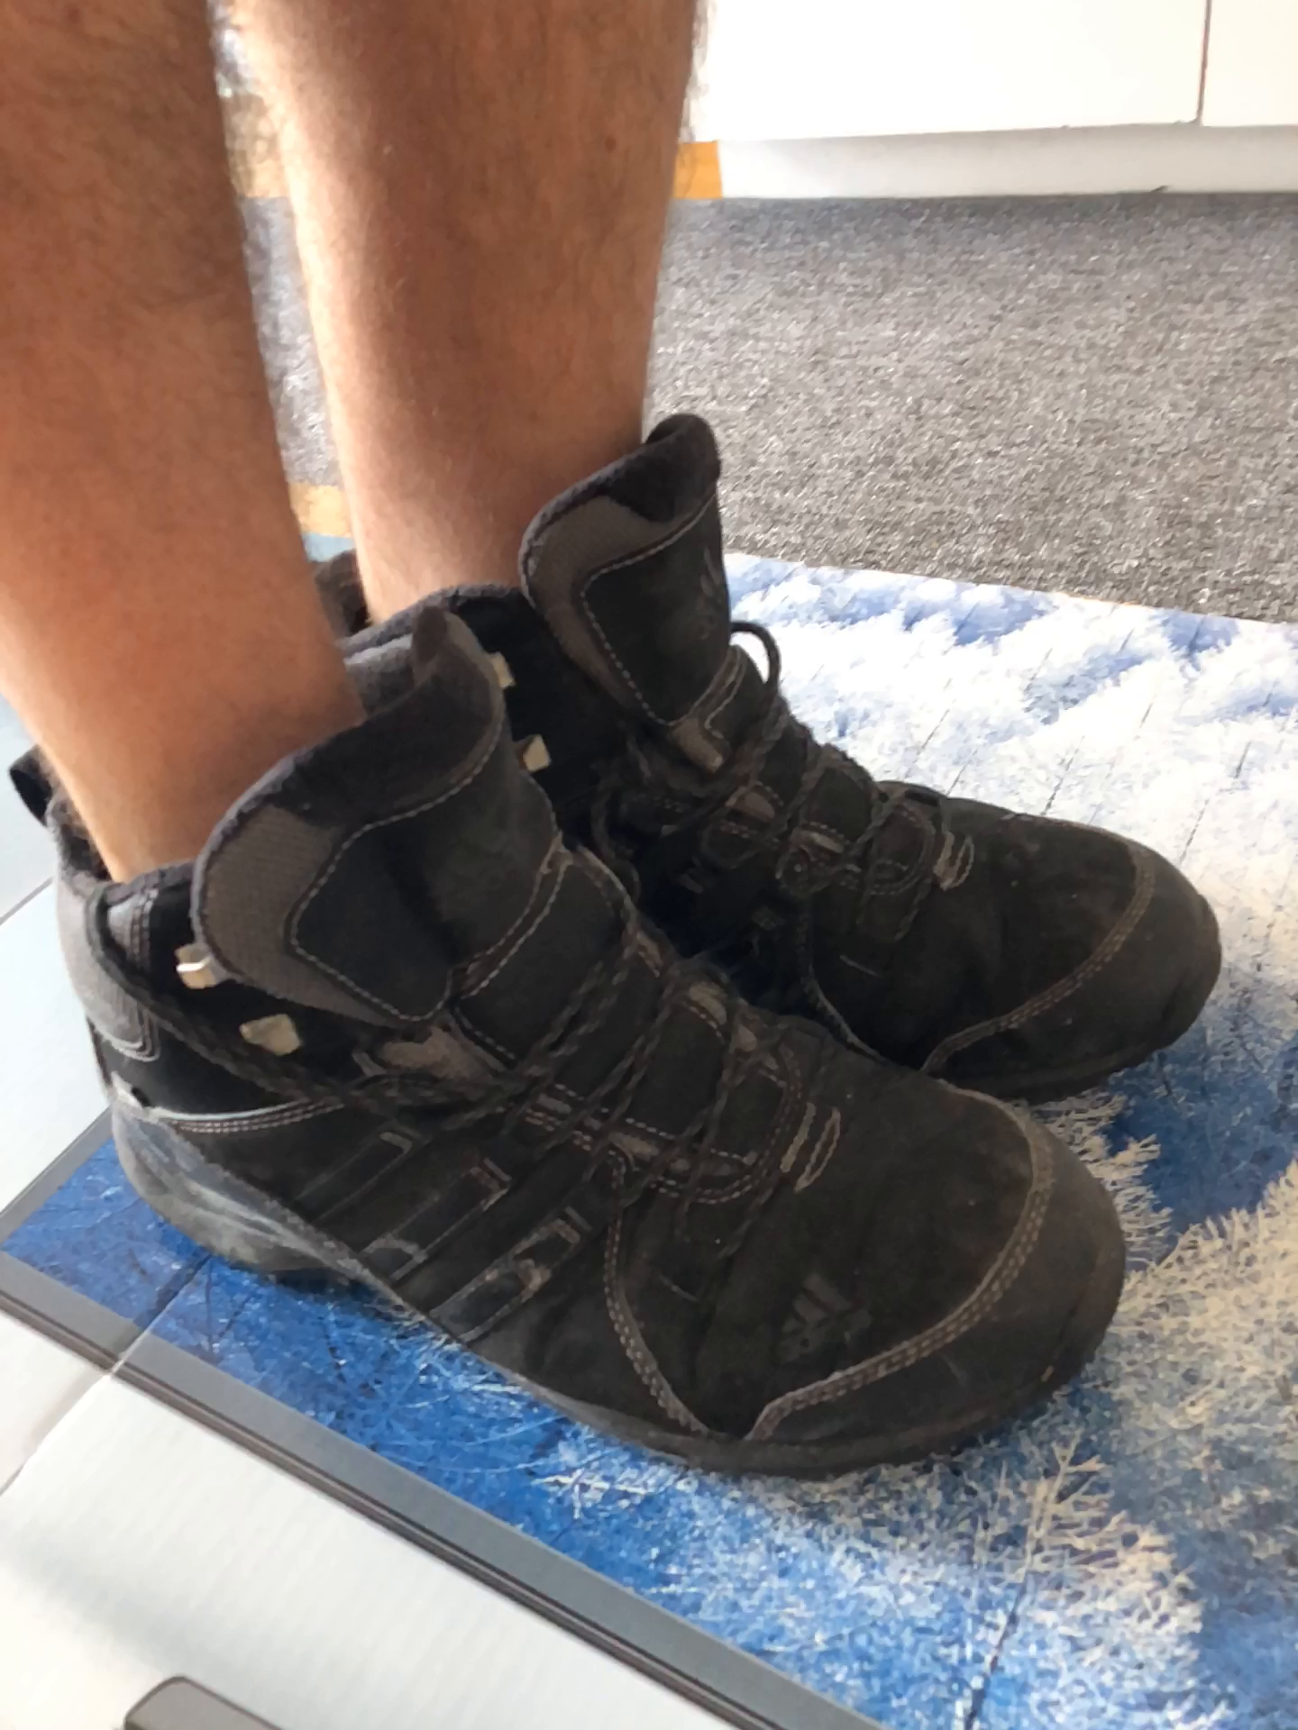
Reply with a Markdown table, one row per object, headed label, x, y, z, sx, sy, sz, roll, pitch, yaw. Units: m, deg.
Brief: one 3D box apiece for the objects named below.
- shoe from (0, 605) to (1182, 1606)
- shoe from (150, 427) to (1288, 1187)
| label | x | y | z | sx | sy | sz | roll | pitch | yaw |
| --- | --- | --- | --- | --- | --- | --- | --- | --- | --- |
| shoe | -0.031 | 0.046 | 0.344 | 0.280 | 0.169 | 0.111 | 7 | 42 | 20 |
| shoe | 0.027 | -0.027 | 0.426 | 0.280 | 0.169 | 0.111 | 7 | 42 | 20 |
